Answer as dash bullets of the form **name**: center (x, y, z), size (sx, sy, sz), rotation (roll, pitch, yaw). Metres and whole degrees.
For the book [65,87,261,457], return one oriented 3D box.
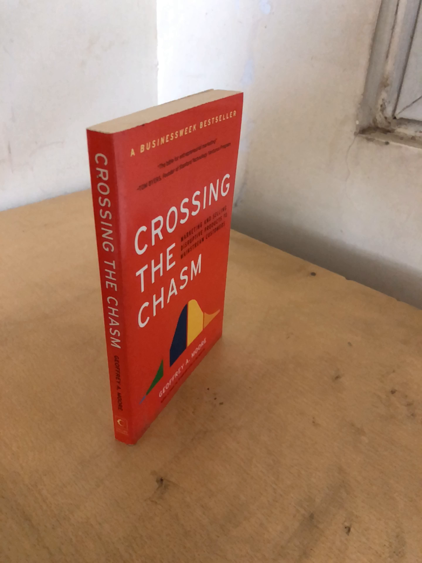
- **book**: center (-0.019, -0.013, 0.317), size (0.030, 0.199, 0.161), rotation (16, 33, 22)
